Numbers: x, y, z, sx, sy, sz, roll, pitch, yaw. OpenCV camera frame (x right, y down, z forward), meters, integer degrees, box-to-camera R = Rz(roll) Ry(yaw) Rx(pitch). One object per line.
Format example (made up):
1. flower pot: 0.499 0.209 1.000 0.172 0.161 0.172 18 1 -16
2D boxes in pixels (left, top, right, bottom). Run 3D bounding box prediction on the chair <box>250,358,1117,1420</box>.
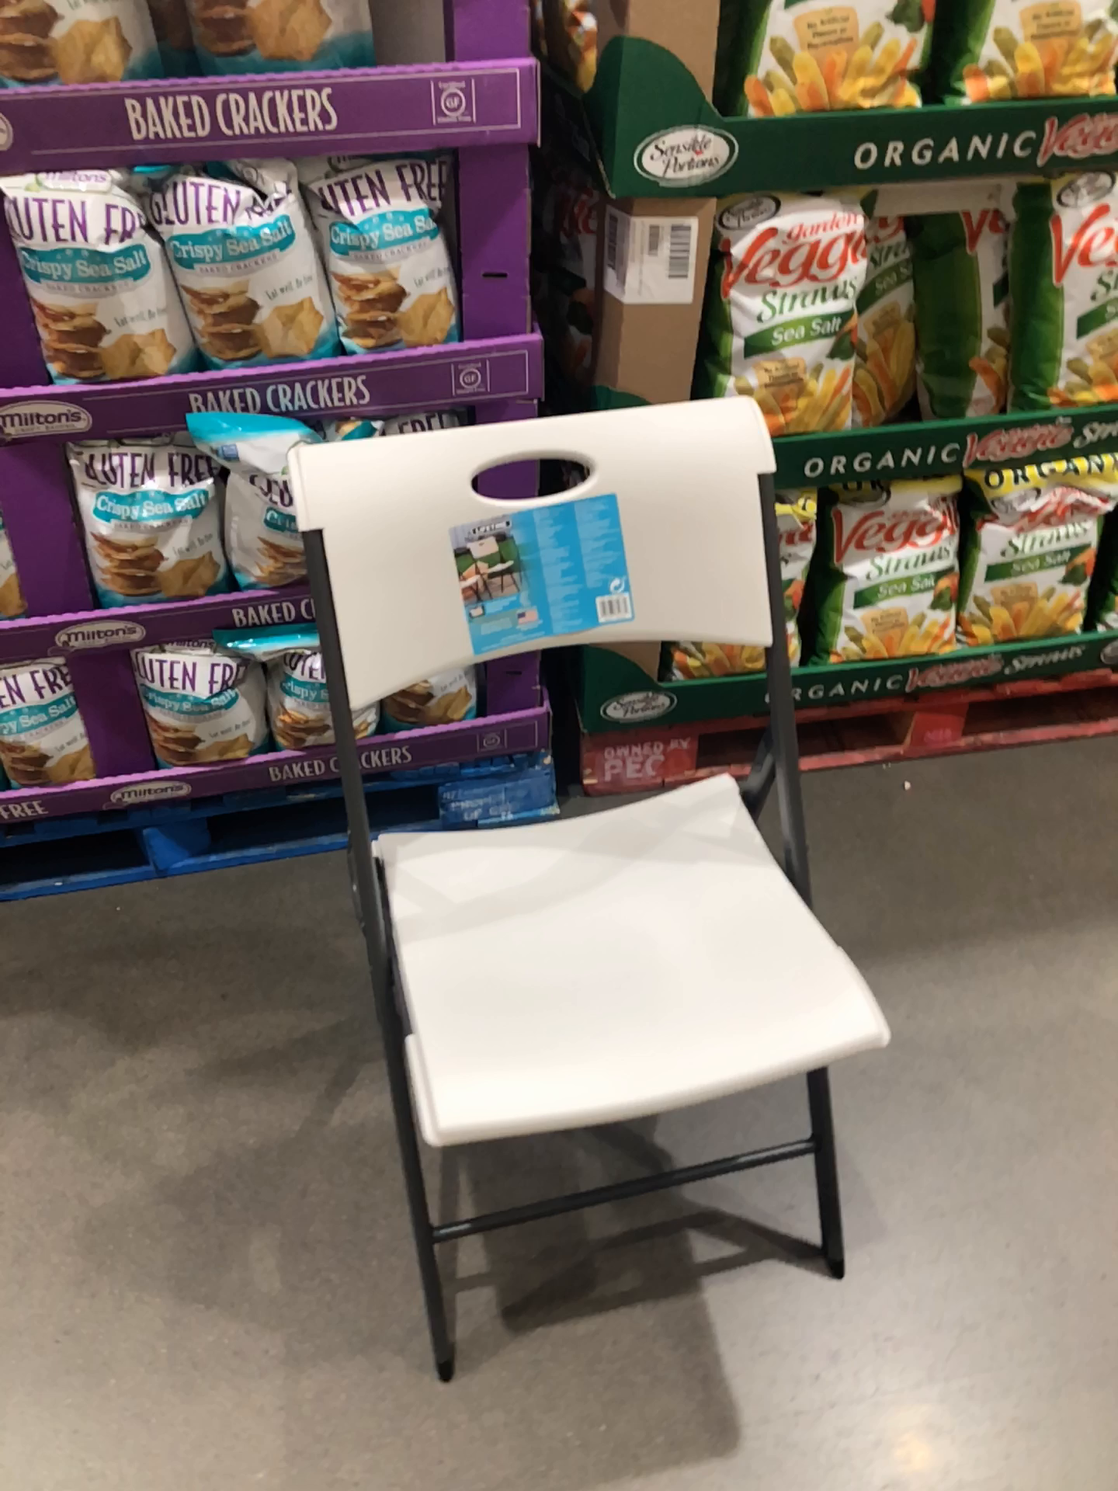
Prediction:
1. chair: 0.045 0.132 1.231 0.545 0.790 0.597 -9 39 -10
